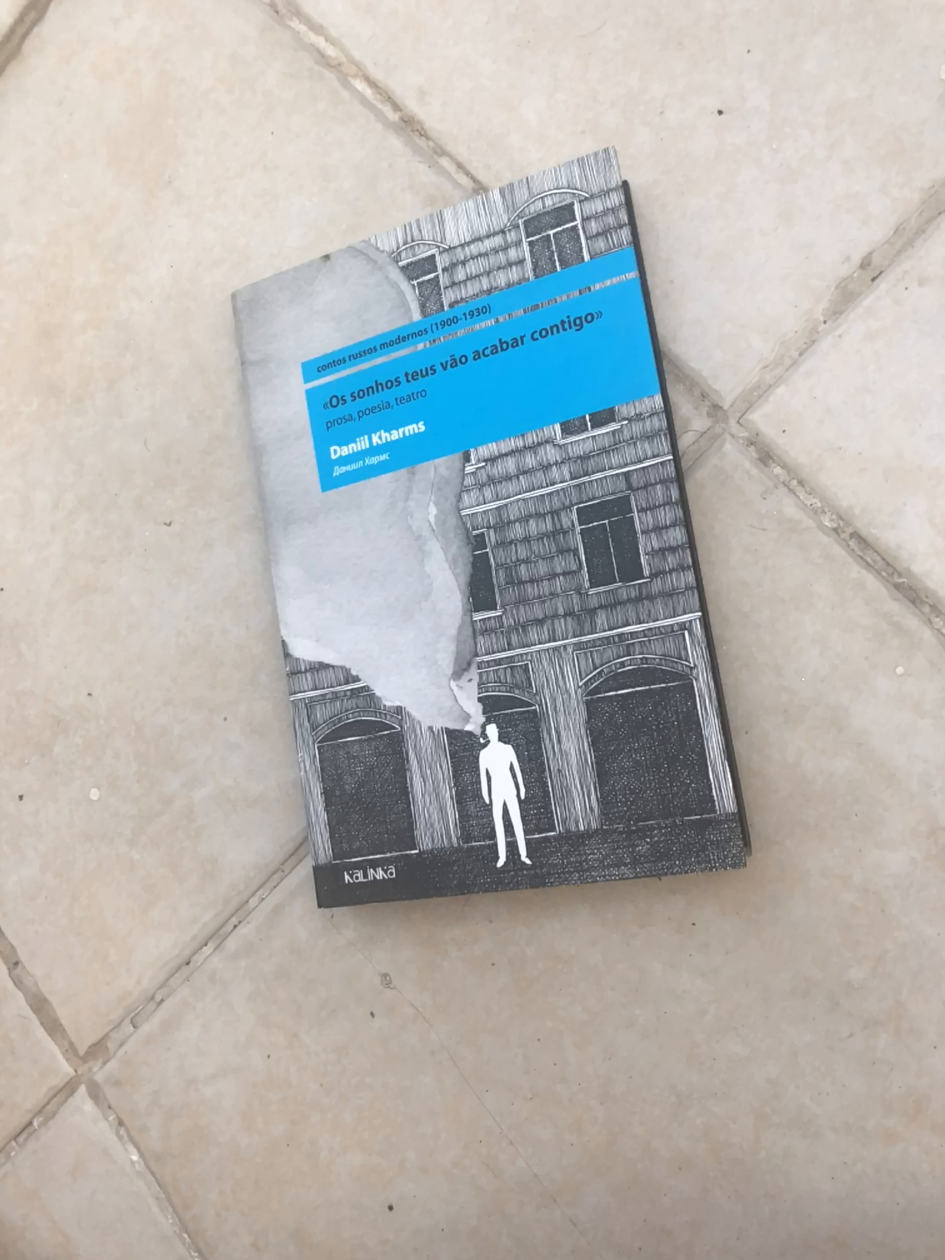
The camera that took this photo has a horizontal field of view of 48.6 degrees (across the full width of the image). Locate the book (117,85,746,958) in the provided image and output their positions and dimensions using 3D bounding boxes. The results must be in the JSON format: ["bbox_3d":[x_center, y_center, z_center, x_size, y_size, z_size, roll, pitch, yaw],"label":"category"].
[{"bbox_3d":[-0.014,-0.017,0.248,0.120,0.040,0.170,-12,83,23],"label":"book"}]
